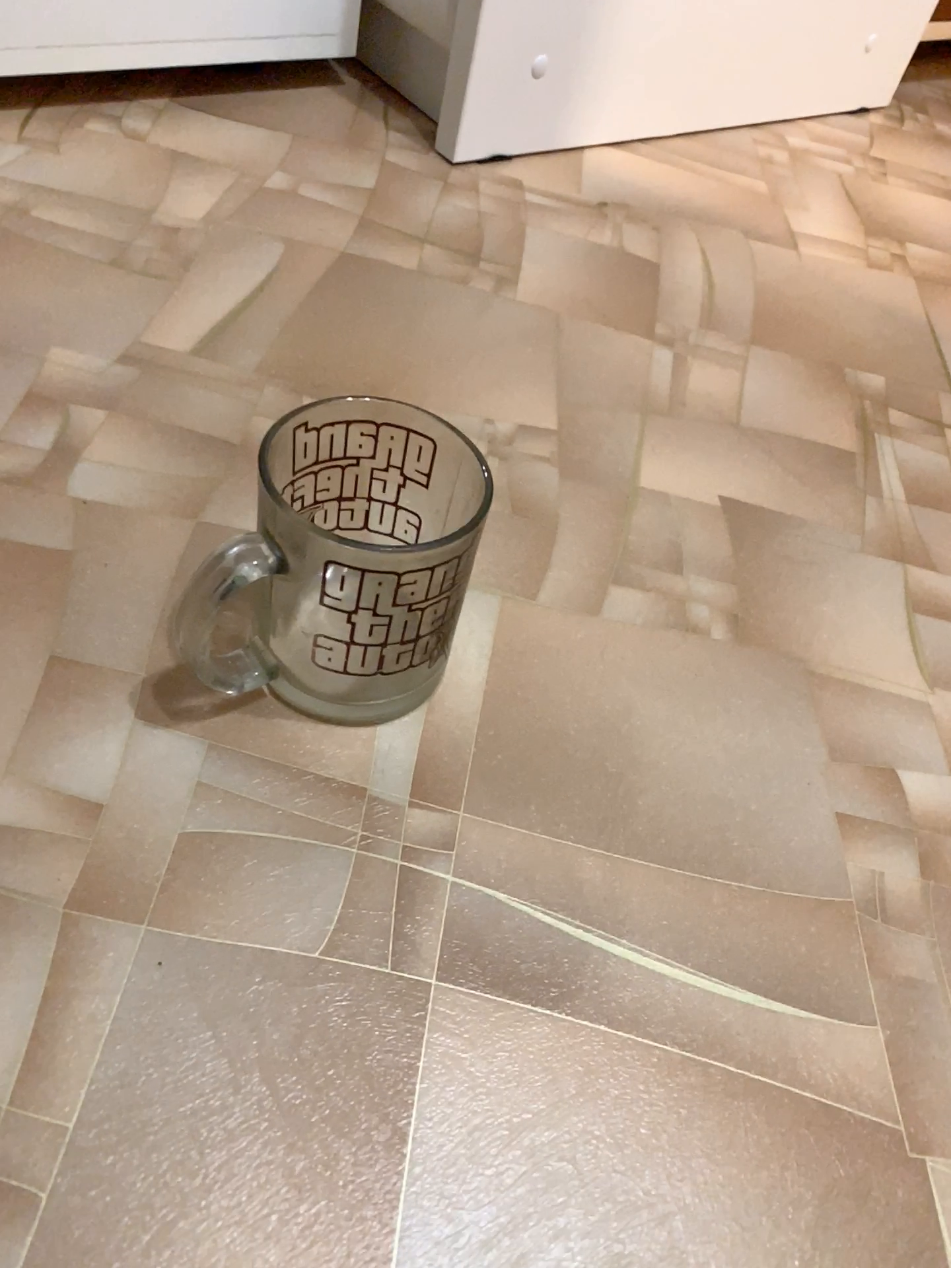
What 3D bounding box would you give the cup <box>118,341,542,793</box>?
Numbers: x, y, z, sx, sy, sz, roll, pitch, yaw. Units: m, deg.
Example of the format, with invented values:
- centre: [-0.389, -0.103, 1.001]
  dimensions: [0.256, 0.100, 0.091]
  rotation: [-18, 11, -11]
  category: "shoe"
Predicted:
- centre: [-0.051, -0.024, 0.327]
  dimensions: [0.098, 0.097, 0.082]
  rotation: [-24, 59, -31]
  category: "cup"
